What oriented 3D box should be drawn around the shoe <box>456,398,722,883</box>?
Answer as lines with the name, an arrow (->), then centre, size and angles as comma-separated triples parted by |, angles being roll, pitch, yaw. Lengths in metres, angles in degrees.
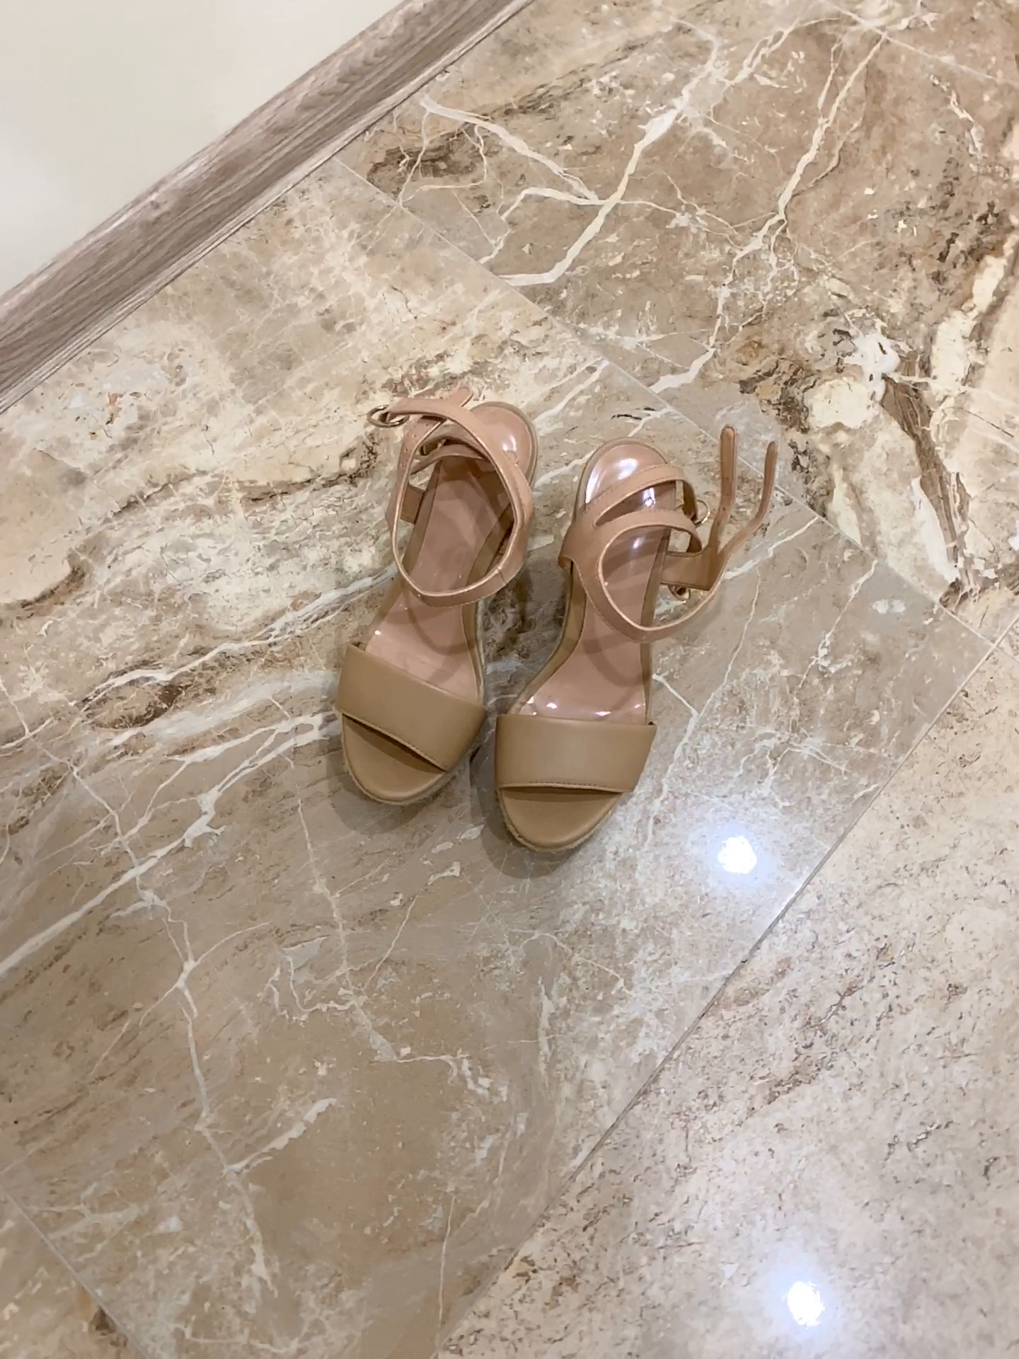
shoe -> 0.040, -0.015, 0.553 | 0.090, 0.130, 0.210 | 12, 69, 3

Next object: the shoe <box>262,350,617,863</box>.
shoe -> -0.029, -0.031, 0.550 | 0.090, 0.150, 0.210 | 20, 70, 6
